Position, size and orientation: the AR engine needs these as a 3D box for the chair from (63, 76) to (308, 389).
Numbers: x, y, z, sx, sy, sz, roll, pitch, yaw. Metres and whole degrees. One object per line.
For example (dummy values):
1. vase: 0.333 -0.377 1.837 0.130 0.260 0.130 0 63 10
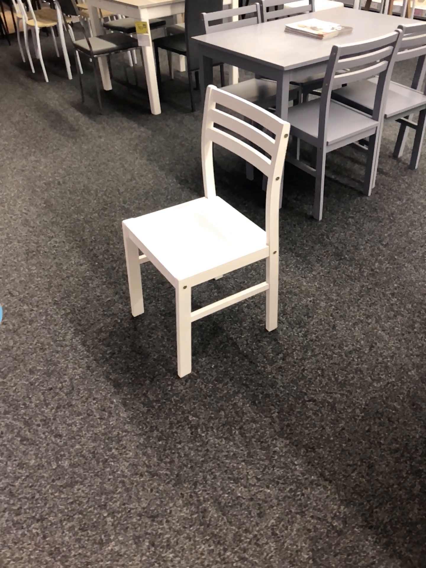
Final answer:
1. chair: -0.077 -0.178 1.531 0.501 0.766 0.501 -24 43 -23
